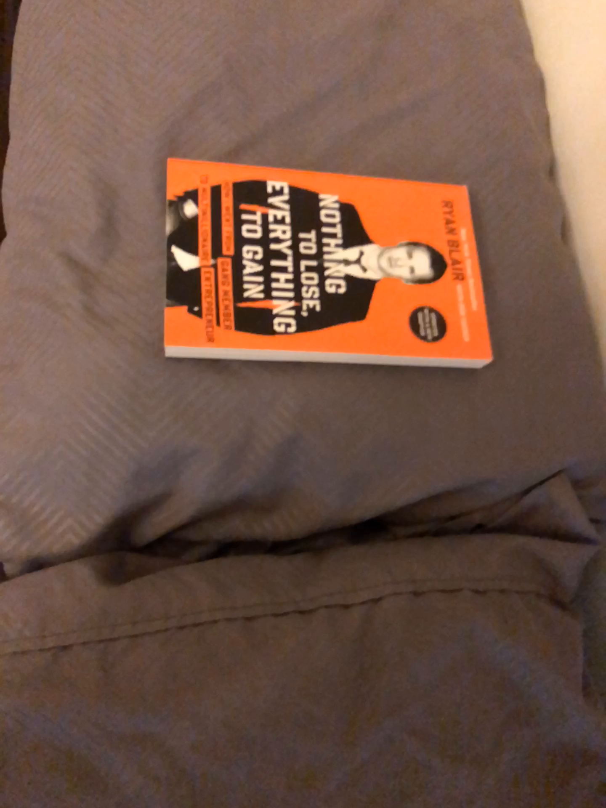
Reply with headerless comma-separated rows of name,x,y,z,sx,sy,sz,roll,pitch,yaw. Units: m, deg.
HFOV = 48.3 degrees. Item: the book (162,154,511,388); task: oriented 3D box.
book,0.023,-0.089,0.461,0.230,0.020,0.150,1,73,-12
